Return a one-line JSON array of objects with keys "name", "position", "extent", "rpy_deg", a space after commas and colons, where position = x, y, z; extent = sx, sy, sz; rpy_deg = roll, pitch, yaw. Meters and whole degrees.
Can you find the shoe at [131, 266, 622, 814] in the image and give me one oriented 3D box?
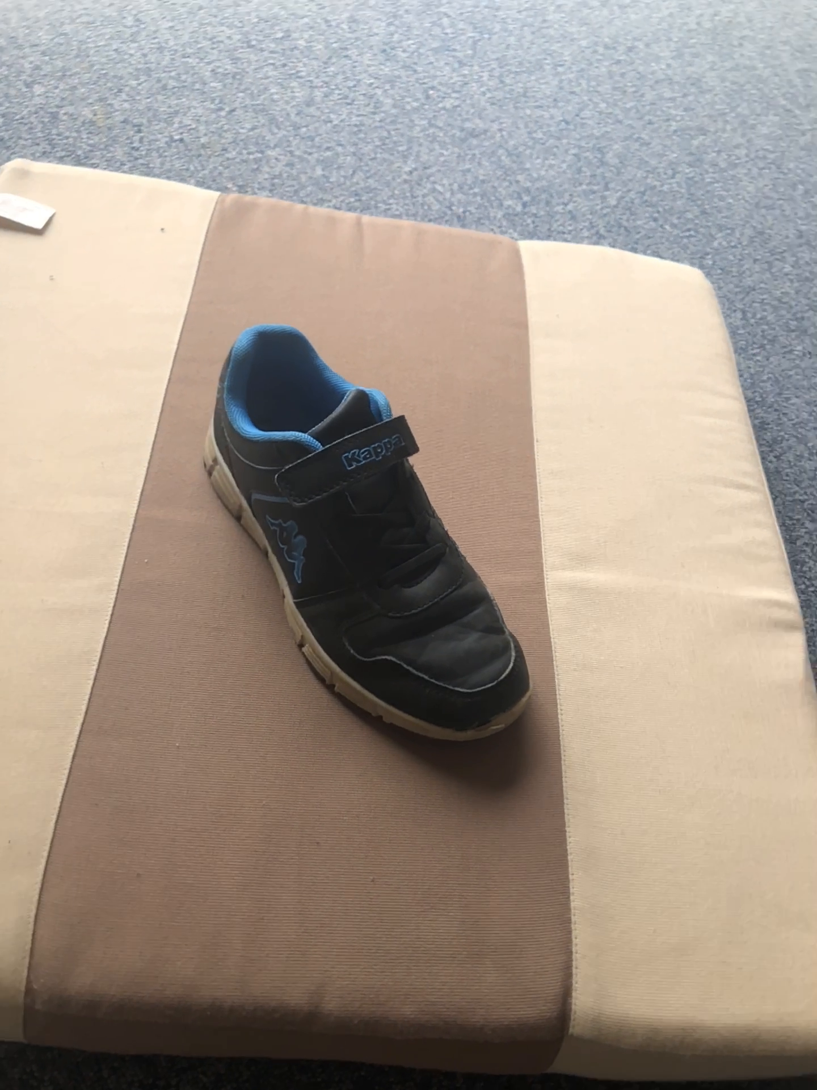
[{"name": "shoe", "position": [-0.028, -0.013, 0.432], "extent": [0.100, 0.090, 0.240], "rpy_deg": [-27, 64, -26]}]
